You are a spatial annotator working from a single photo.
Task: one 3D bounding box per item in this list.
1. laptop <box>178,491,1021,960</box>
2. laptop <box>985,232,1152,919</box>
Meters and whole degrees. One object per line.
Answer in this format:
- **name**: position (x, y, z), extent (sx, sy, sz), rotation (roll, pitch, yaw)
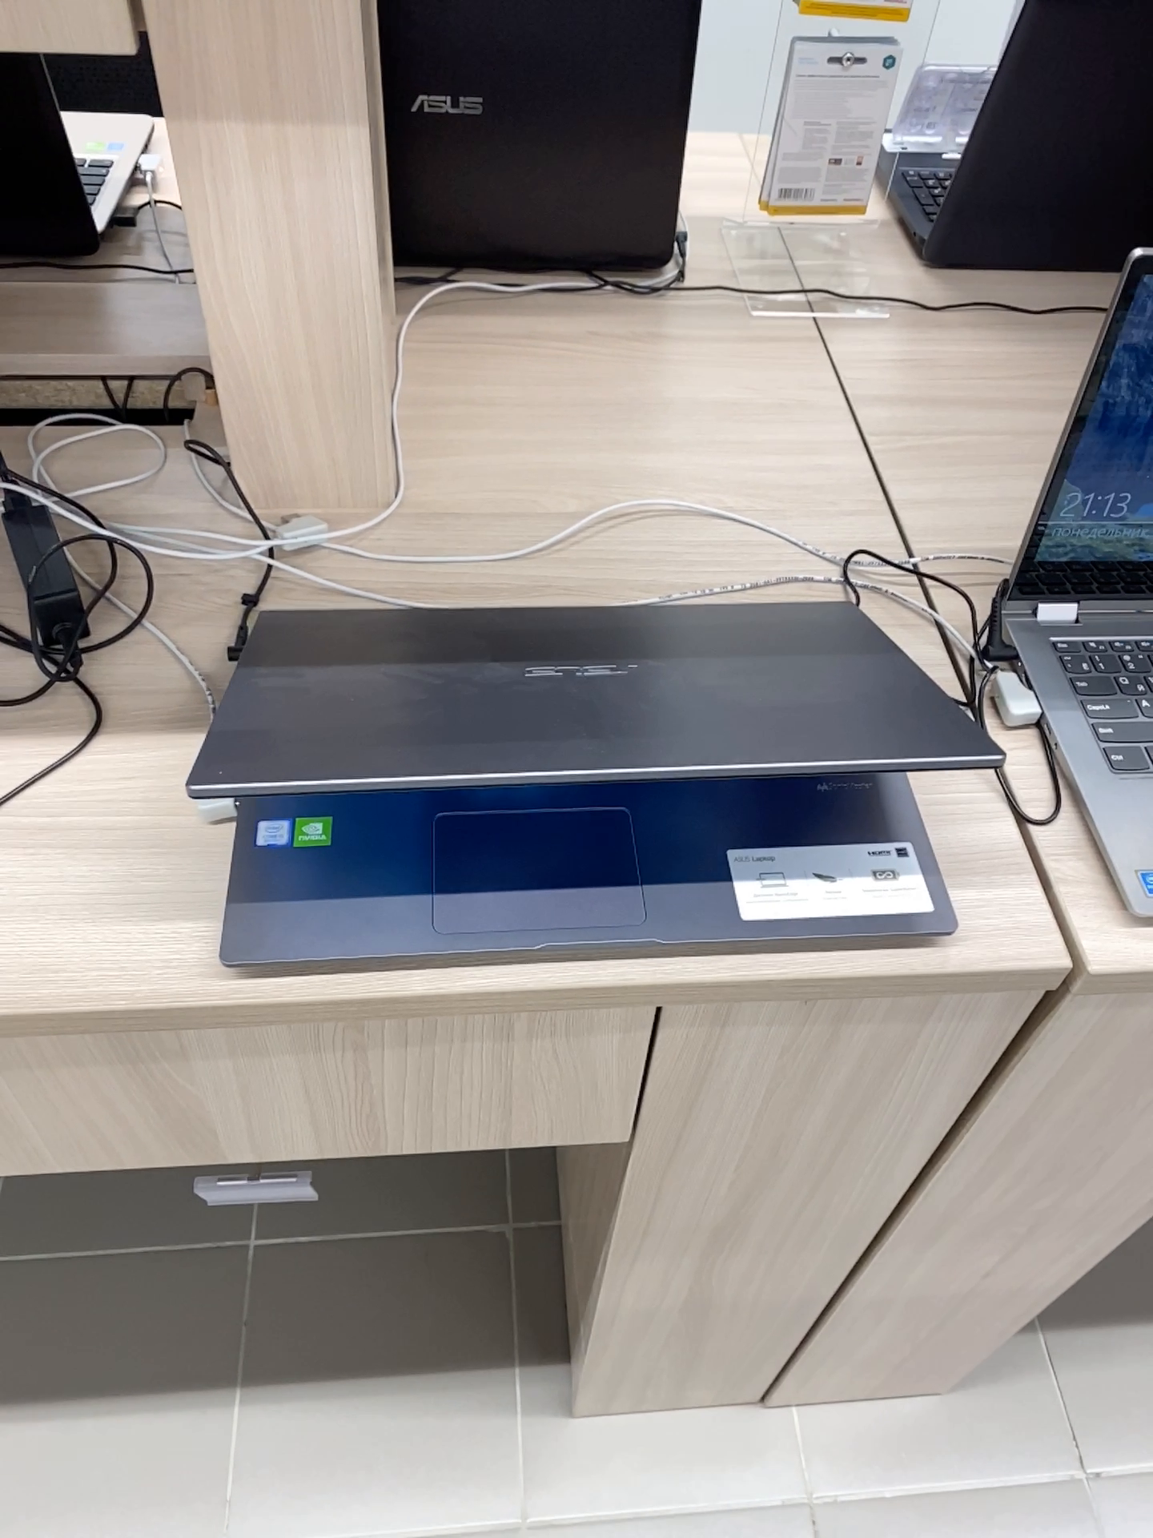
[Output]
- **laptop**: position (0.005, -0.033, 0.602), extent (0.354, 0.097, 0.230), rotation (-1, 49, -6)
- **laptop**: position (0.457, -0.104, 0.613), extent (0.351, 0.222, 0.259), rotation (-2, 50, -7)
